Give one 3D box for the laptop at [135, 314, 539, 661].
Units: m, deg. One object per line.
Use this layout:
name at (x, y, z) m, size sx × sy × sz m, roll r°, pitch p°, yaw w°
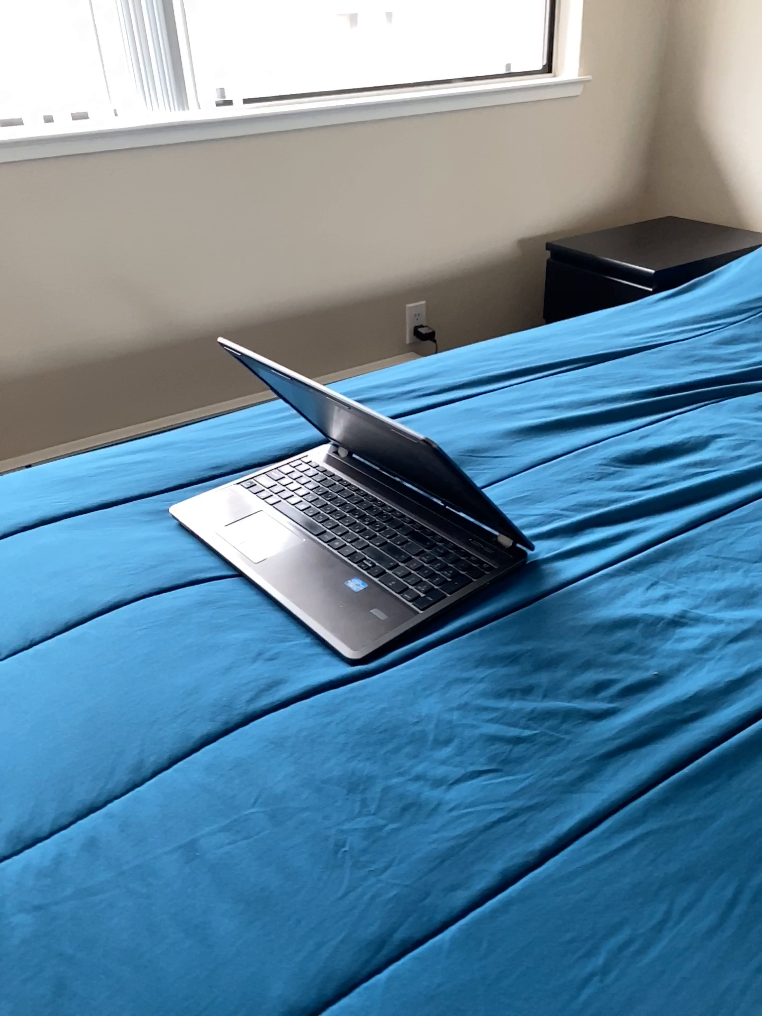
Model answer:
laptop at (-0.056, -0.055, 0.860) m, size 0.255 × 0.192 × 0.370 m, roll -24°, pitch 37°, yaw -33°
